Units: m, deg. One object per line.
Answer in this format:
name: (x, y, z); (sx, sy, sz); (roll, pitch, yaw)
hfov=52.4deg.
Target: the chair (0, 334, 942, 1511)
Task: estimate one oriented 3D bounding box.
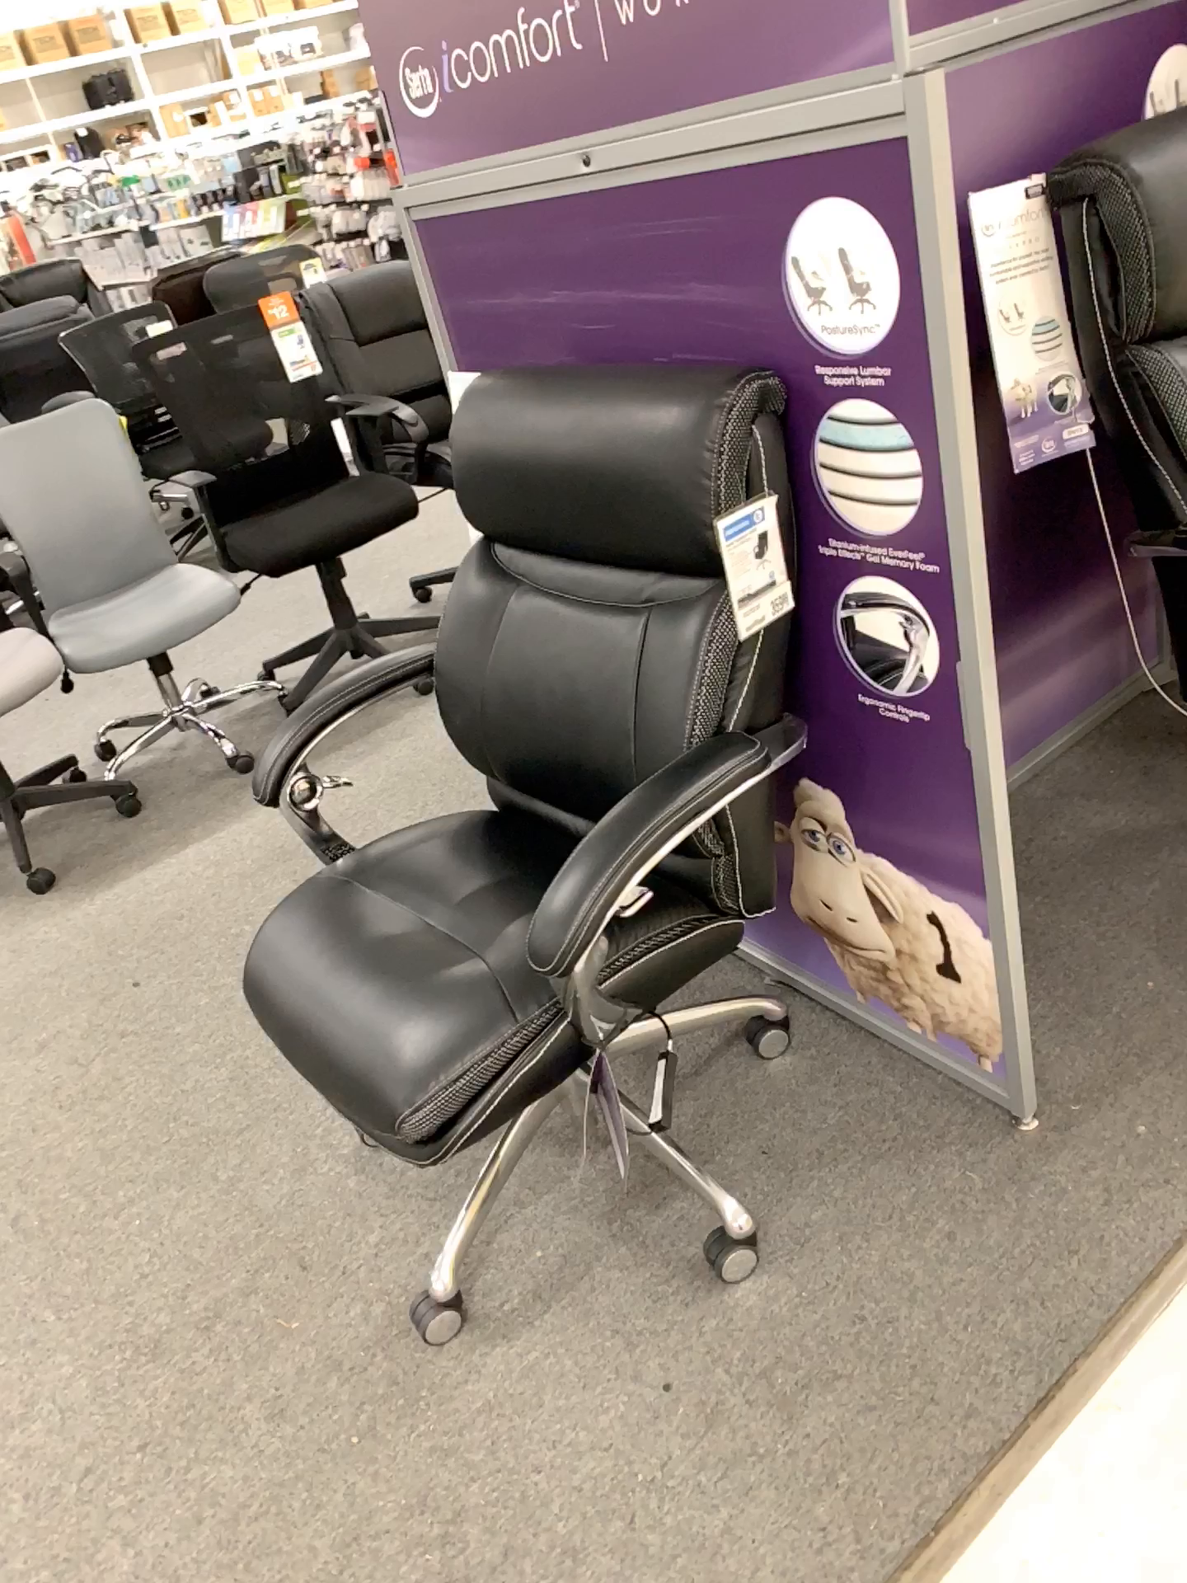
chair: (-0.171, 0.052, 1.443); (0.720, 0.955, 0.774); (-31, 33, -25)
